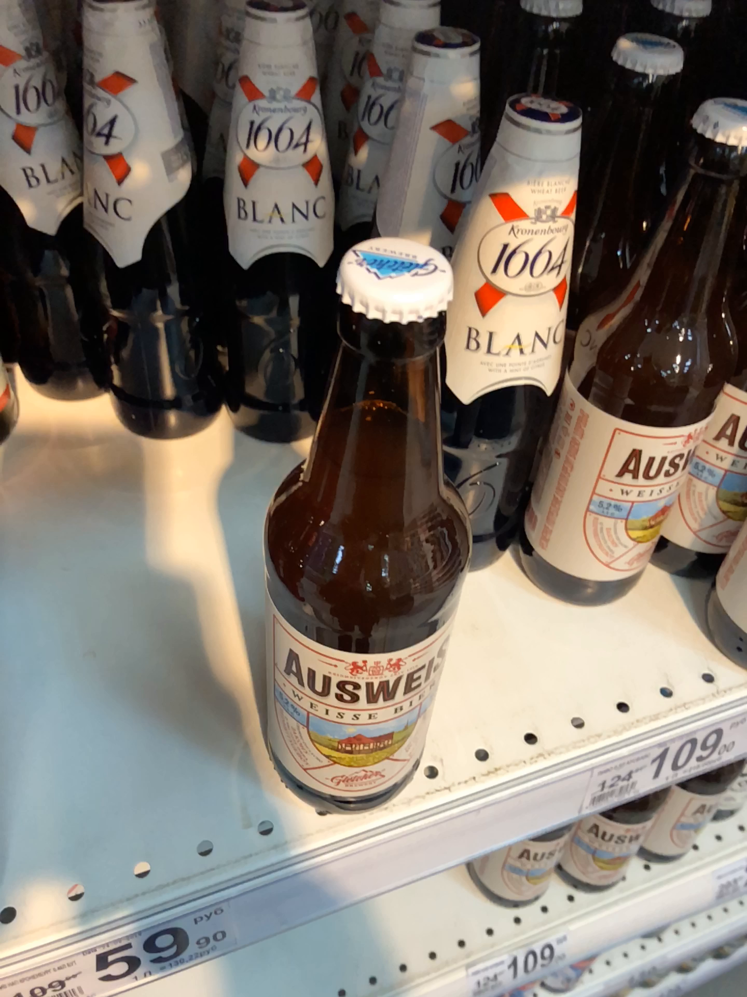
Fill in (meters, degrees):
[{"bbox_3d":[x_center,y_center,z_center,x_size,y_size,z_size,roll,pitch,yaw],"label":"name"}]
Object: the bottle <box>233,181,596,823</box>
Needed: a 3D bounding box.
[{"bbox_3d":[-0.002,0.024,0.294,0.080,0.249,0.070,-3,46,-8],"label":"bottle"}]
